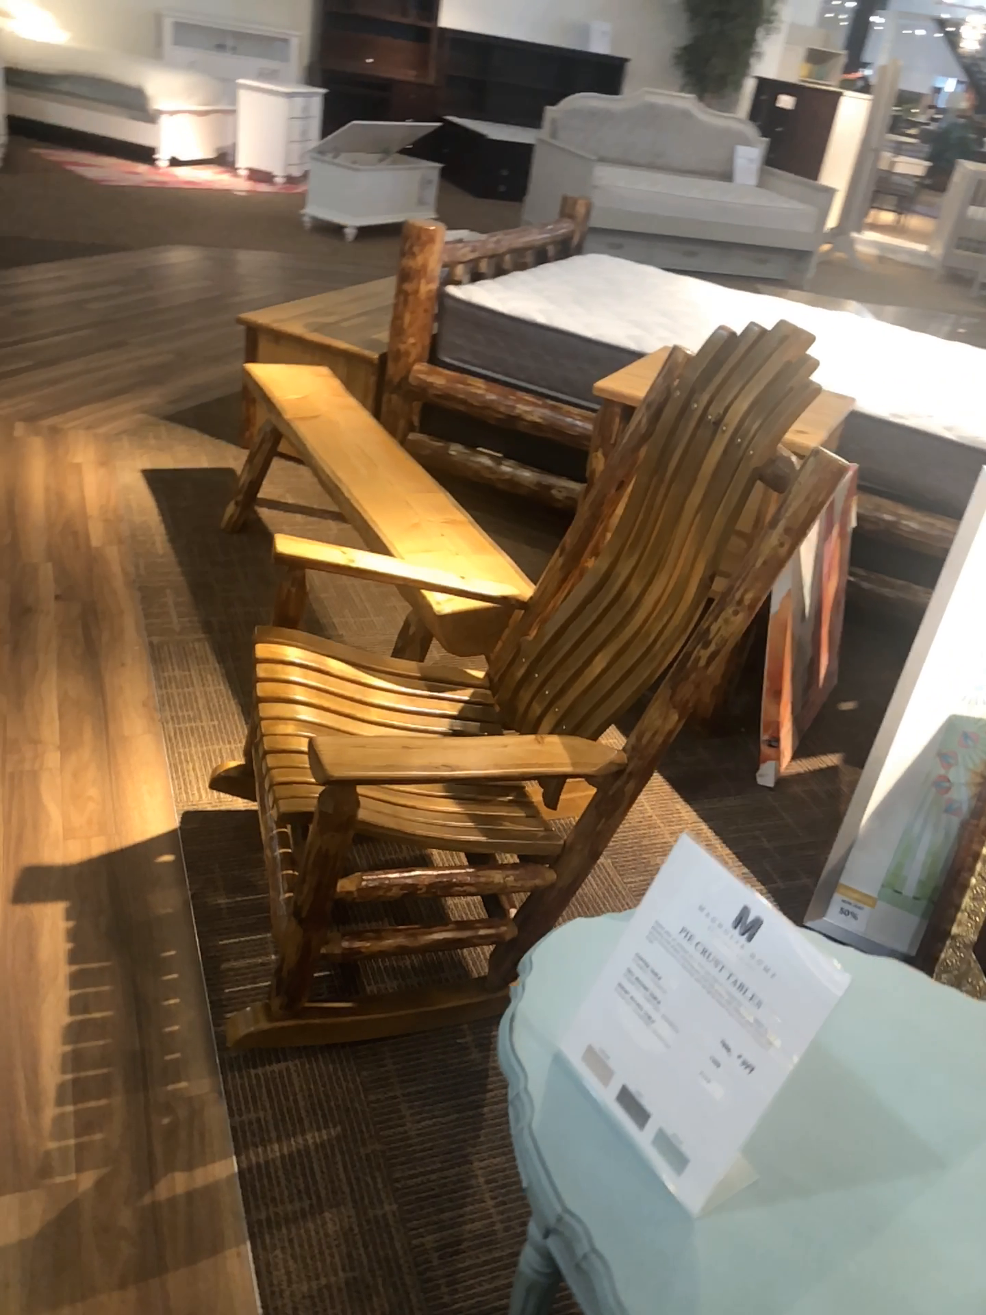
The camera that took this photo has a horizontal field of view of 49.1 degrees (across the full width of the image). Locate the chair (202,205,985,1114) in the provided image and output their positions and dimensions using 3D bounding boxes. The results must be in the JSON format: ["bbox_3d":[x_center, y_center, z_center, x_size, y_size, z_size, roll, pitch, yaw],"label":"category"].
[{"bbox_3d":[0.034,-0.011,1.641,0.885,1.049,0.720,0,31,-17],"label":"chair"}]
